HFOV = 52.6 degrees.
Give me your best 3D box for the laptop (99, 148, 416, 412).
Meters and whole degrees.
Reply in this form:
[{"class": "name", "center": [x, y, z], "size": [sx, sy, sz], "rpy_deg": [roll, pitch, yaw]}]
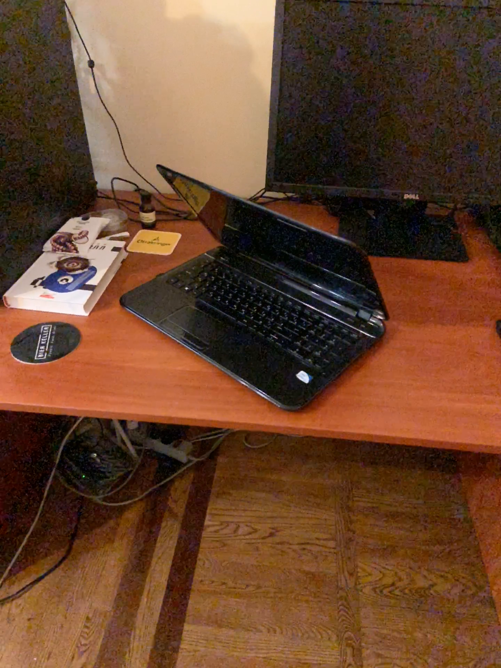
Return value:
[{"class": "laptop", "center": [0.001, -0.110, 0.761], "size": [0.371, 0.194, 0.245], "rpy_deg": [29, 46, 31]}]
